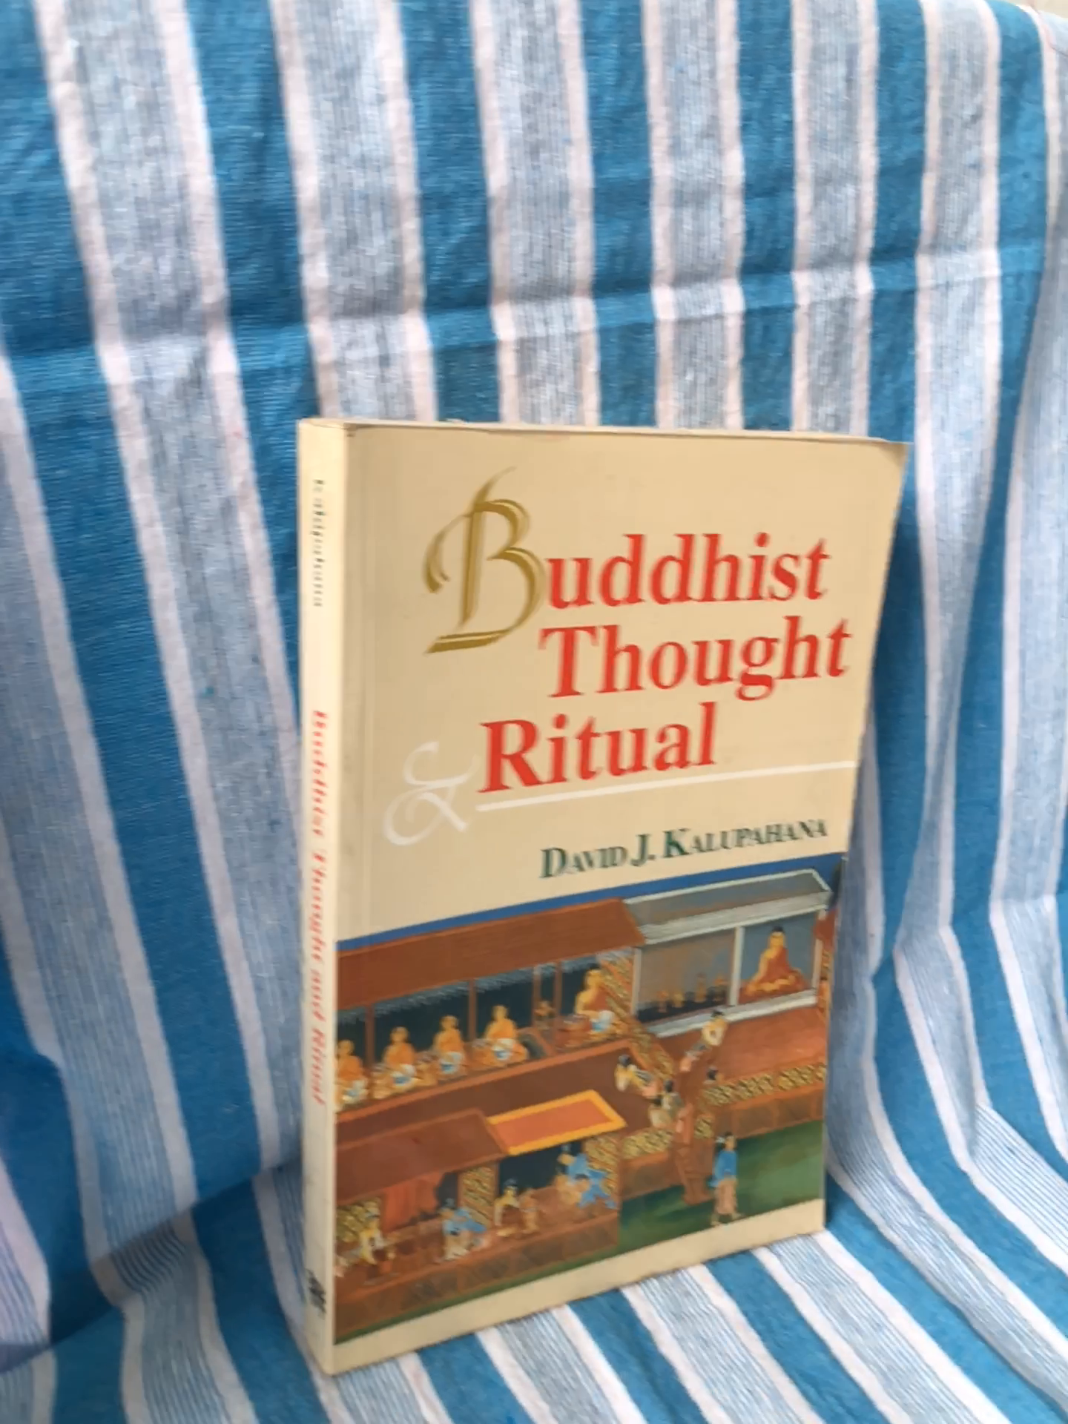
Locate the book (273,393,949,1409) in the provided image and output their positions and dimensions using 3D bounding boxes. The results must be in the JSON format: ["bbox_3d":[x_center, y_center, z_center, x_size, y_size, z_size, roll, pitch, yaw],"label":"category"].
[{"bbox_3d":[0.017,0.043,0.278,0.150,0.219,0.020,-4,17,-26],"label":"book"}]
